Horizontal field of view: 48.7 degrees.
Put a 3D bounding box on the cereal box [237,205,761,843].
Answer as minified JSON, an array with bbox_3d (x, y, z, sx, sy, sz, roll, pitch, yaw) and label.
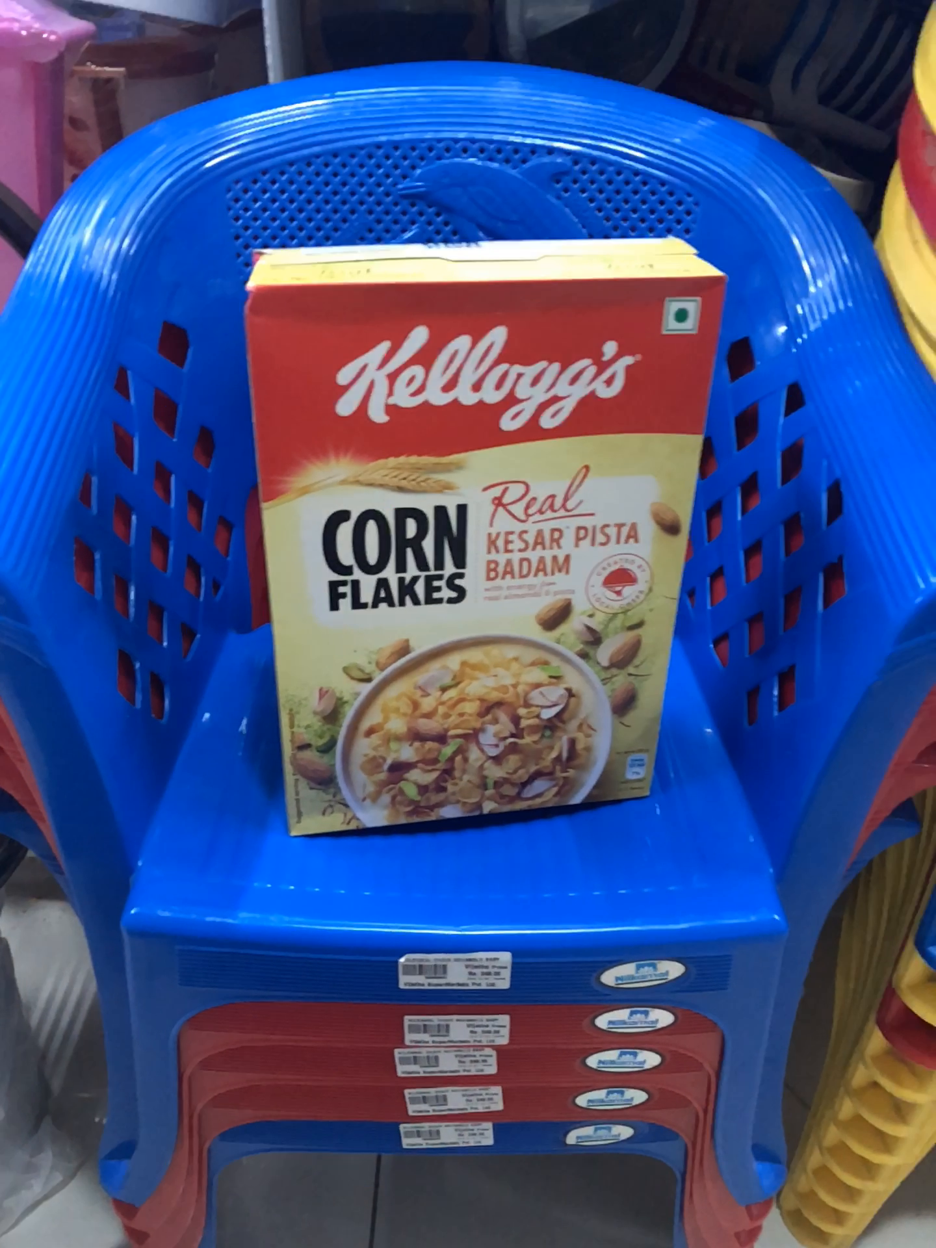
[{"bbox_3d":[0.007,-0.038,0.465,0.190,0.269,0.070,-5,31,-9],"label":"cereal box"}]
